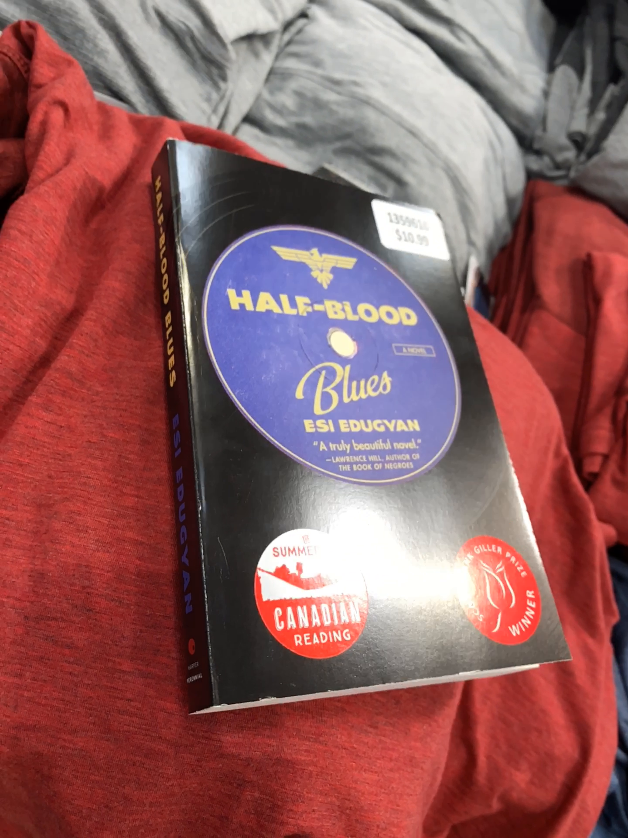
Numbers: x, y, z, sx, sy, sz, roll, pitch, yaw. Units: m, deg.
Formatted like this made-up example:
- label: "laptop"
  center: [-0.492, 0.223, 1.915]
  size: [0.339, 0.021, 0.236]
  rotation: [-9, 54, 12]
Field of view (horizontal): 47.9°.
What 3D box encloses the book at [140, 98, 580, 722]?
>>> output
- label: "book"
  center: [0.012, -0.011, 0.272]
  size: [0.146, 0.025, 0.220]
  rotation: [9, 59, -33]
